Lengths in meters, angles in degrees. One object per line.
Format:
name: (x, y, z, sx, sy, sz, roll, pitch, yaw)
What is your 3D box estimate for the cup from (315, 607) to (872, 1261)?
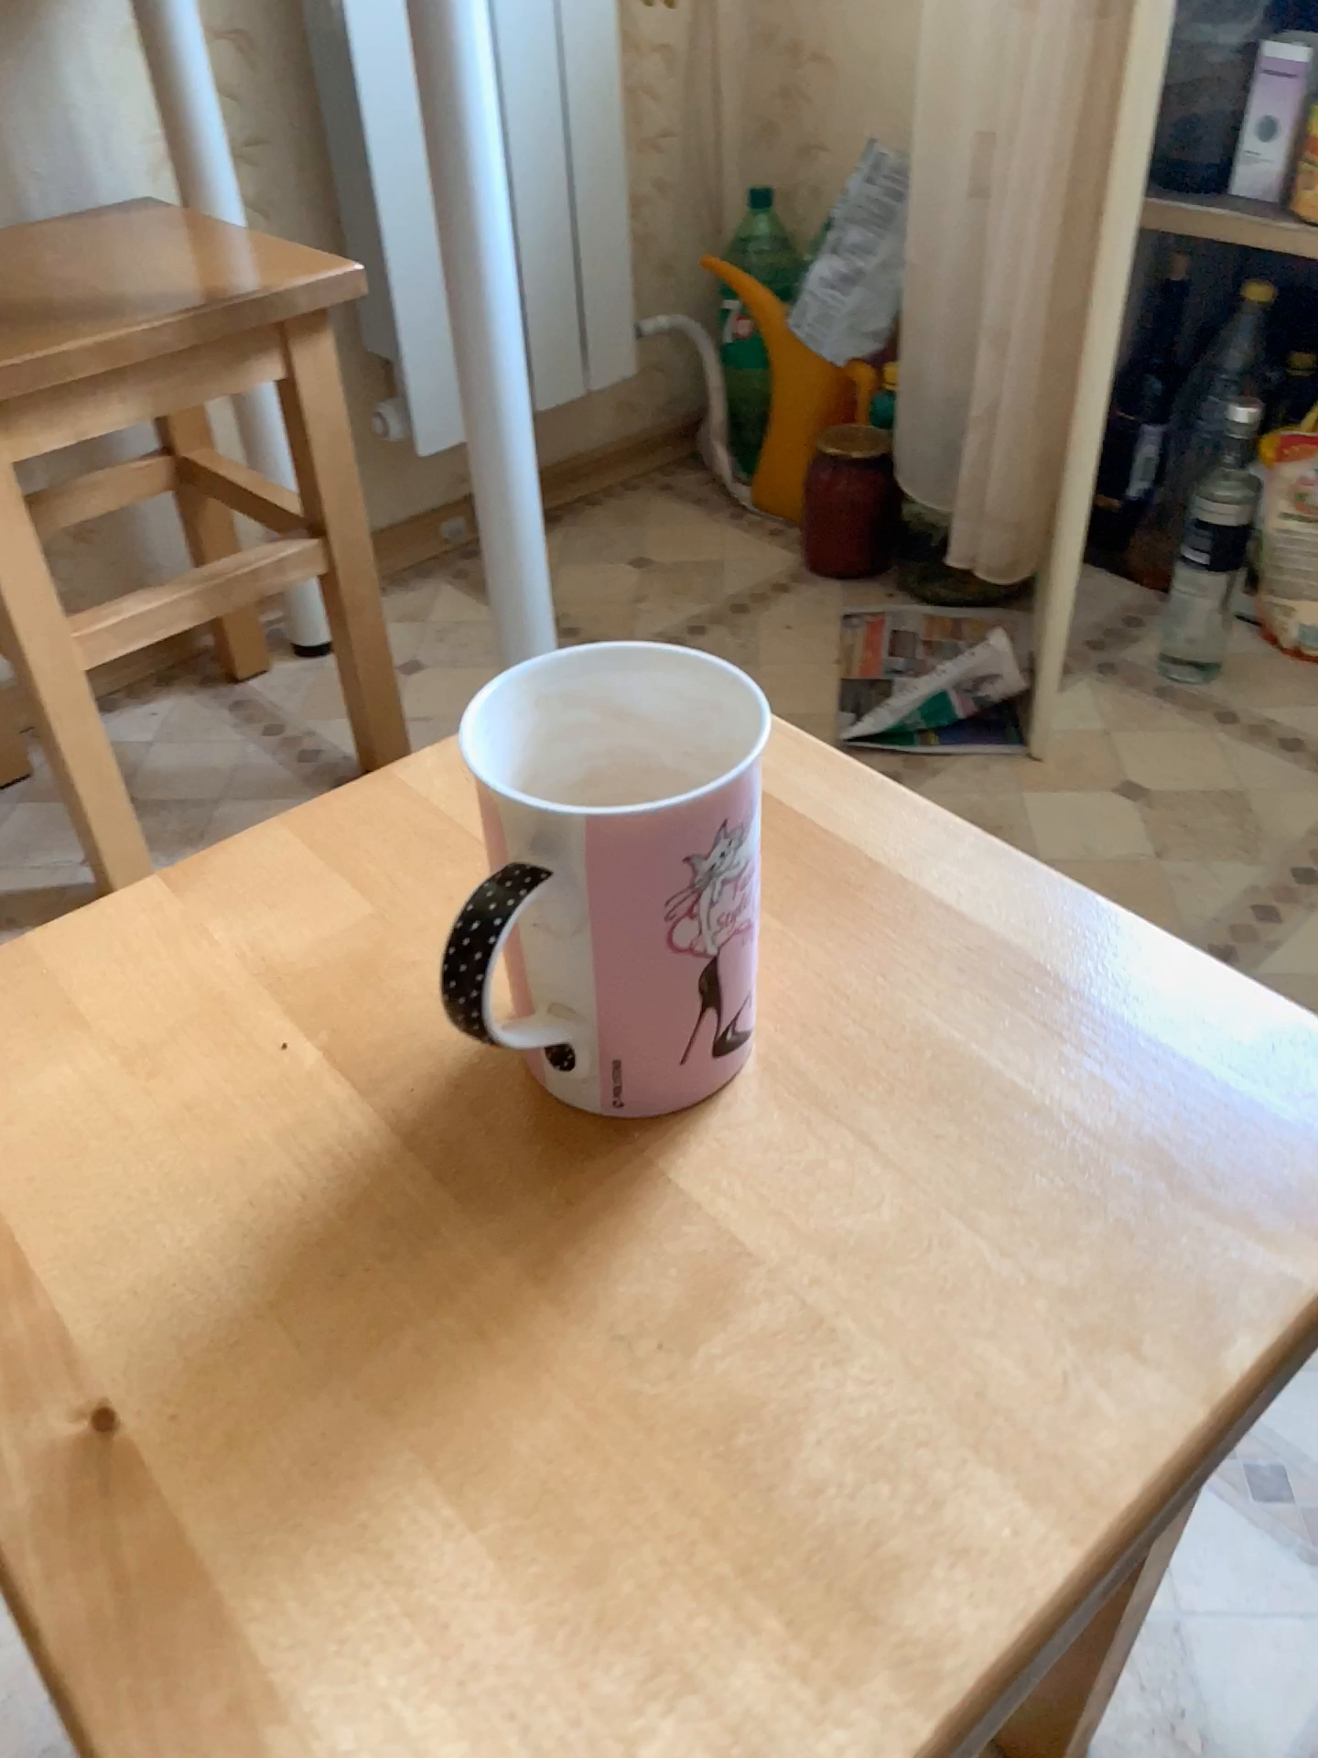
cup: (-0.009, 0.008, 0.340, 0.080, 0.099, 0.111, 20, 44, 26)
